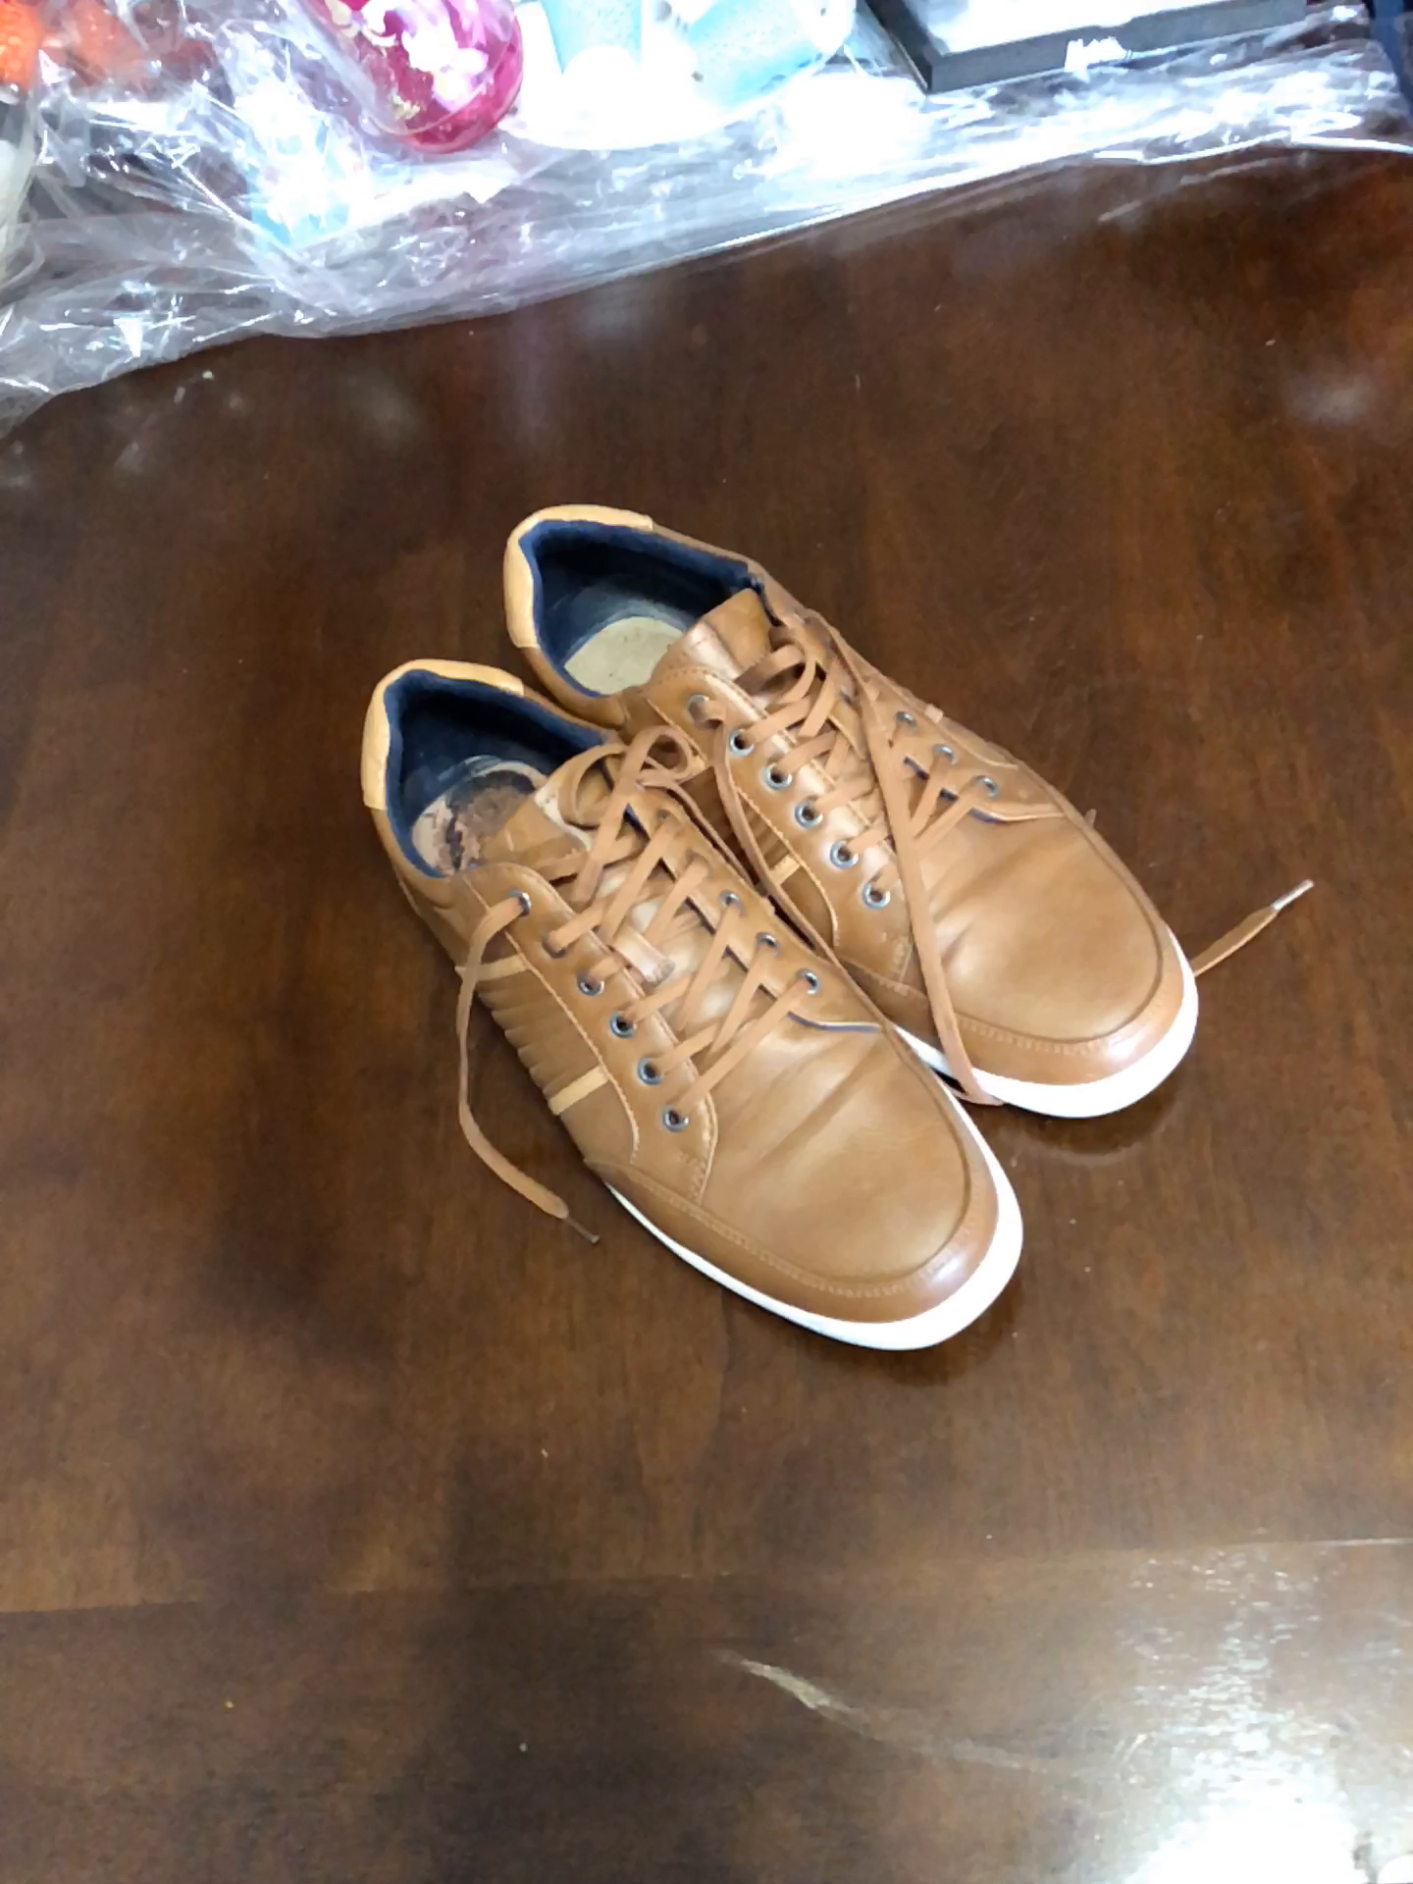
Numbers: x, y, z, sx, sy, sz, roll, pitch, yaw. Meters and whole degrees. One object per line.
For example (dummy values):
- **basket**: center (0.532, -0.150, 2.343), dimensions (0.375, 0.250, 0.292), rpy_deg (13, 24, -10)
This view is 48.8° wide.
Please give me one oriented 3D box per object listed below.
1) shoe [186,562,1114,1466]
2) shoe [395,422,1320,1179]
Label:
- **shoe**: center (-0.026, 0.008, 0.483), dimensions (0.110, 0.080, 0.291), rpy_deg (-43, 60, -12)
- **shoe**: center (0.040, -0.060, 0.527), dimensions (0.291, 0.080, 0.110), rpy_deg (35, 74, 28)
